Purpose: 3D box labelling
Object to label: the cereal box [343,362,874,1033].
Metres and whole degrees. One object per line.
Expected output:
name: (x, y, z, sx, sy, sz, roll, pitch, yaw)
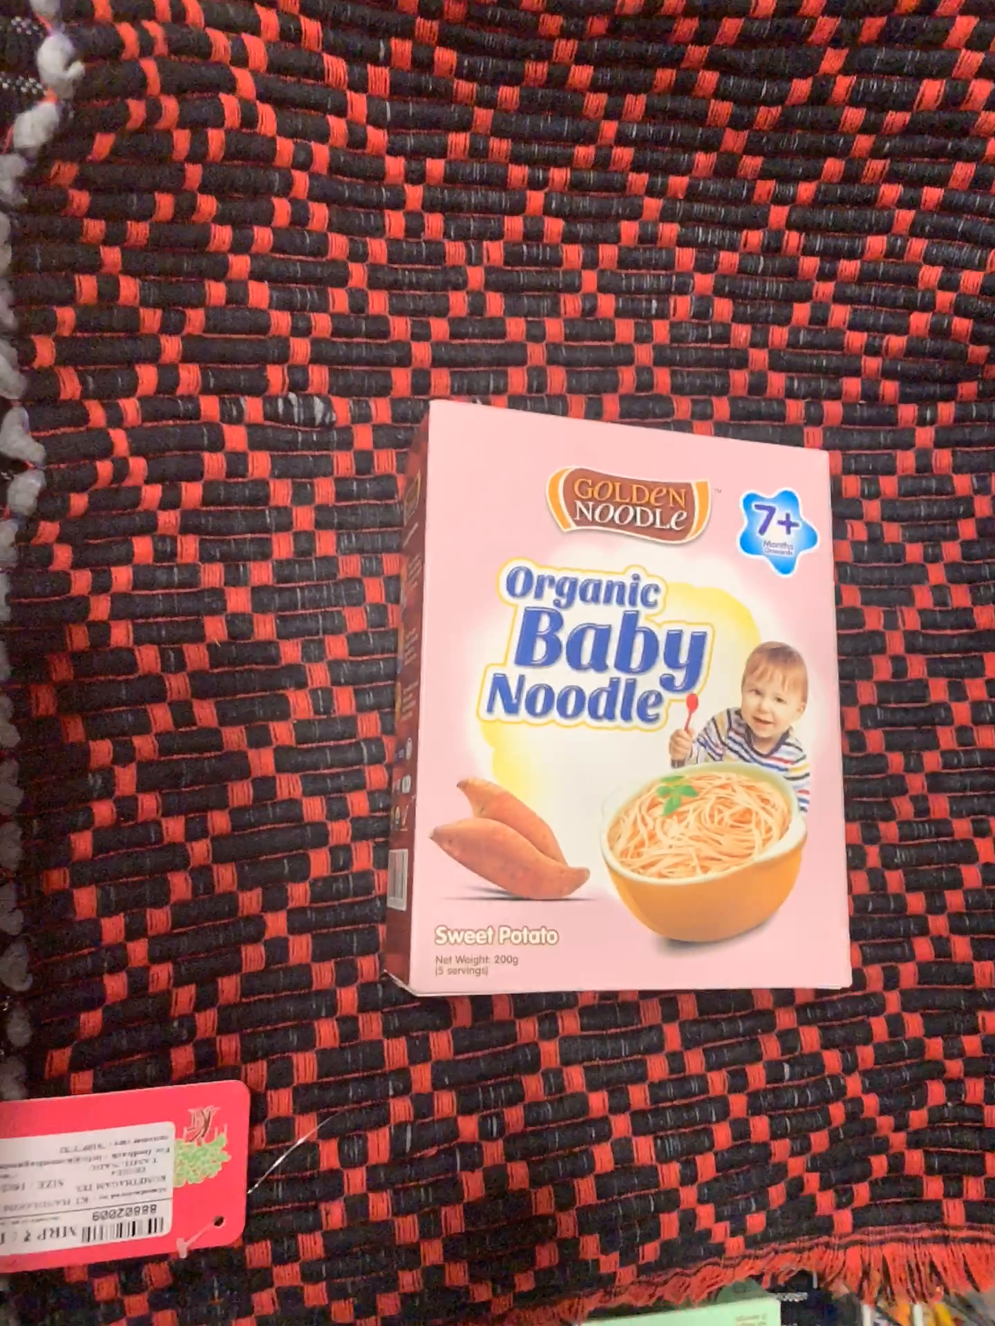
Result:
cereal box: (0.029, 0.012, 0.283, 0.130, 0.050, 0.160, 4, 81, -14)
